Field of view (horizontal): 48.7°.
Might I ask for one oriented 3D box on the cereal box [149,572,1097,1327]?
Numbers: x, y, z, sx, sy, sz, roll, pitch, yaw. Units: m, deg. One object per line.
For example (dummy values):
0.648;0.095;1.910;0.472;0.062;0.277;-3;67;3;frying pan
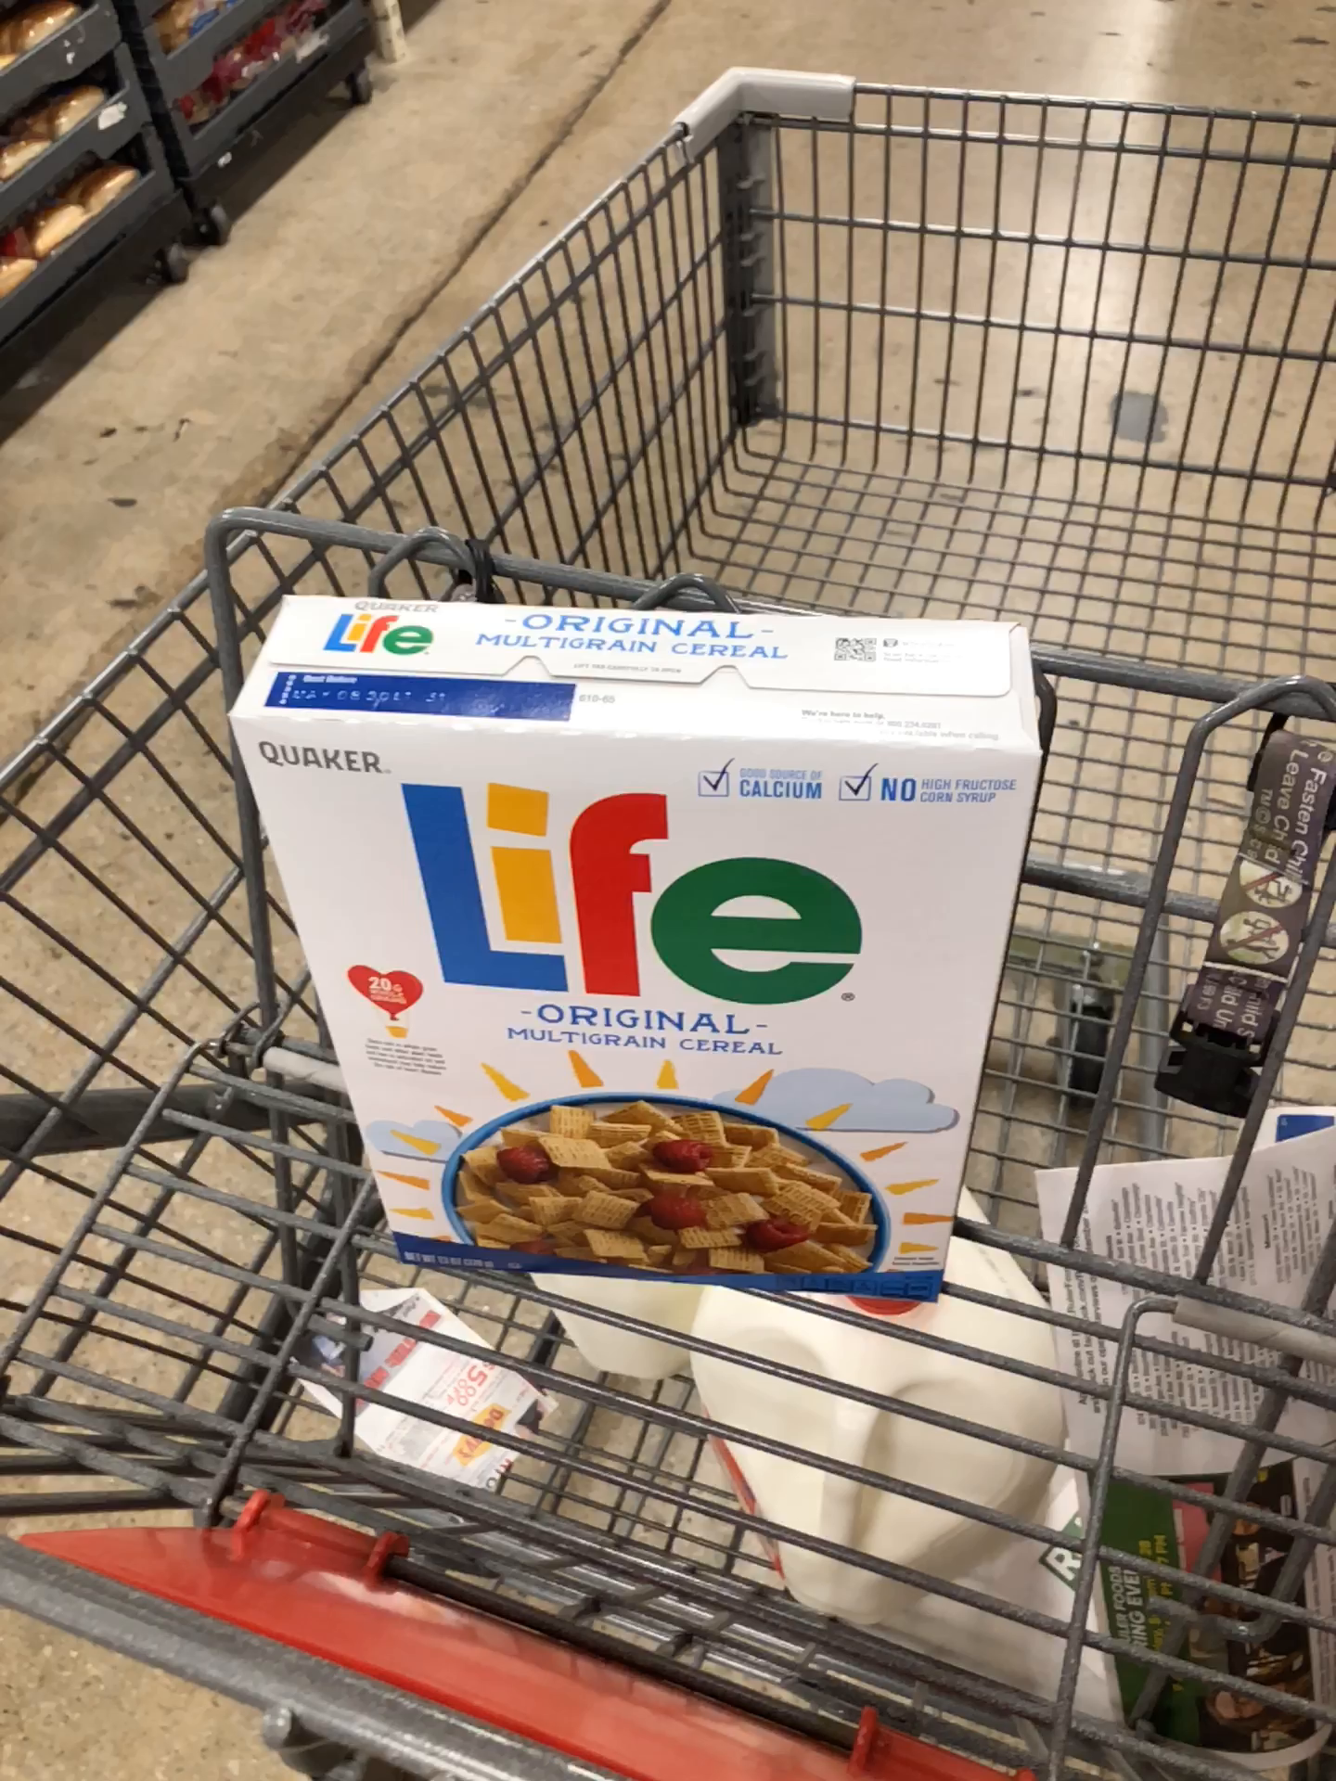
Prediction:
-0.005;0.031;0.411;0.200;0.240;0.050;4;46;7;cereal box
